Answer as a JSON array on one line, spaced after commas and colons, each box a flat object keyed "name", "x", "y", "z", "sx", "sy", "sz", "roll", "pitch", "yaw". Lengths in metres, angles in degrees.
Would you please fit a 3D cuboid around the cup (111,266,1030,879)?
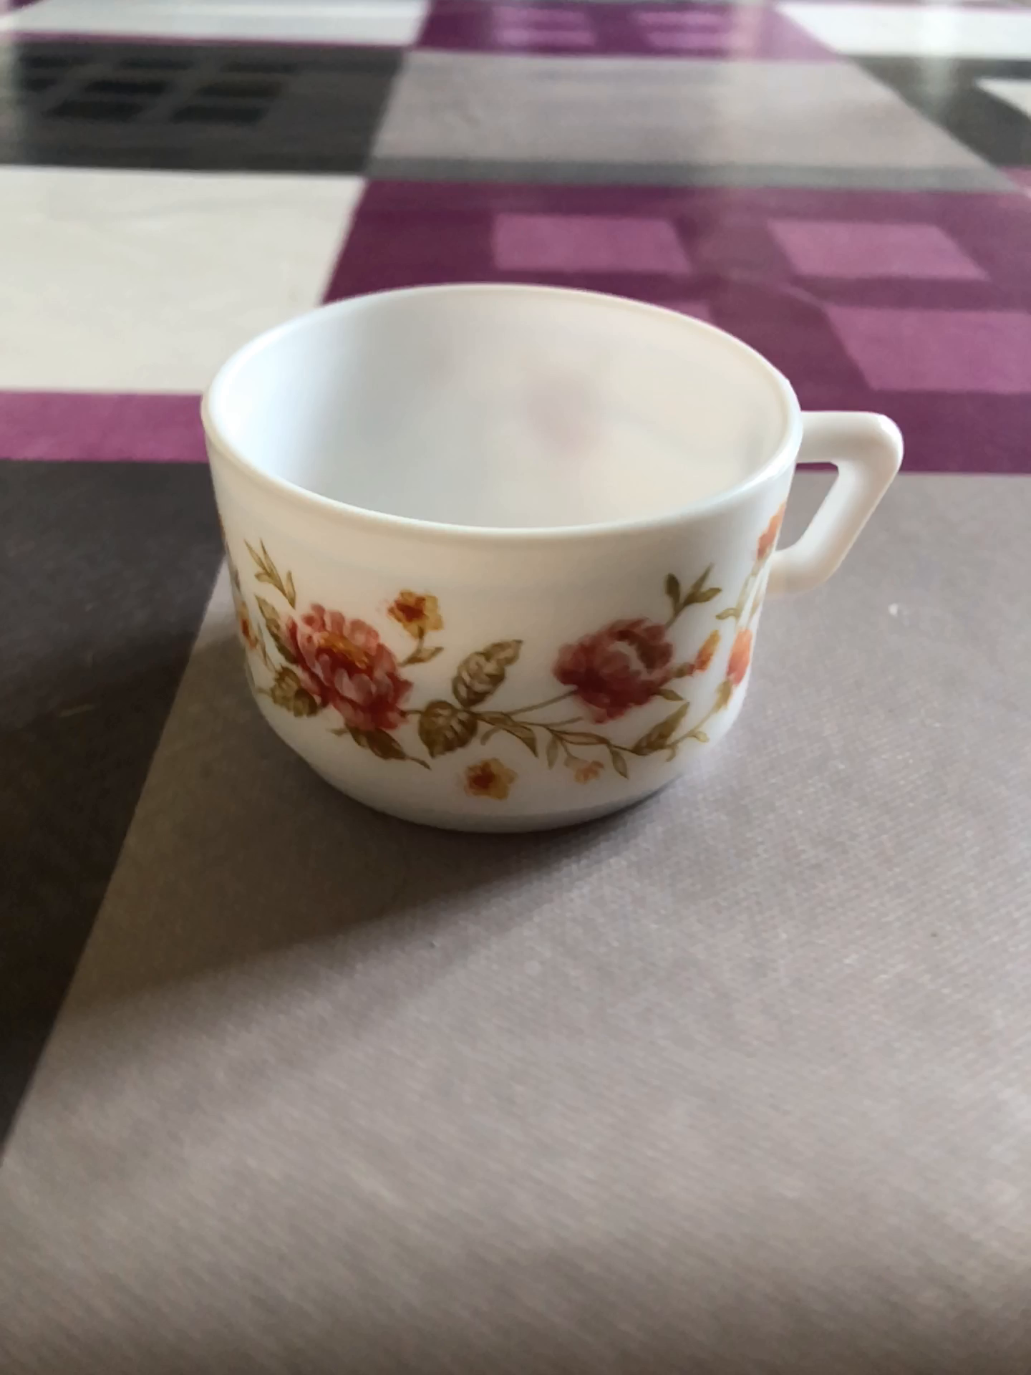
[{"name": "cup", "x": 0.013, "y": -0.021, "z": 0.165, "sx": 0.110, "sy": 0.050, "sz": 0.080, "roll": 0, "pitch": 37, "yaw": -3}]
